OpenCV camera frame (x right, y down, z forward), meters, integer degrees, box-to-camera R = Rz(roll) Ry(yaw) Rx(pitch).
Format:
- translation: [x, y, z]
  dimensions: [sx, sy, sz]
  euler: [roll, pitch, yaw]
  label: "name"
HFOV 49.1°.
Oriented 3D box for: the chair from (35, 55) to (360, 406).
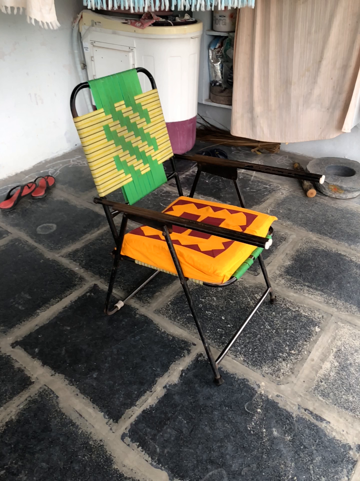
- translation: [0.086, -0.105, 1.343]
  dimensions: [0.680, 0.826, 0.663]
  euler: [20, 39, 28]
  label: "chair"
